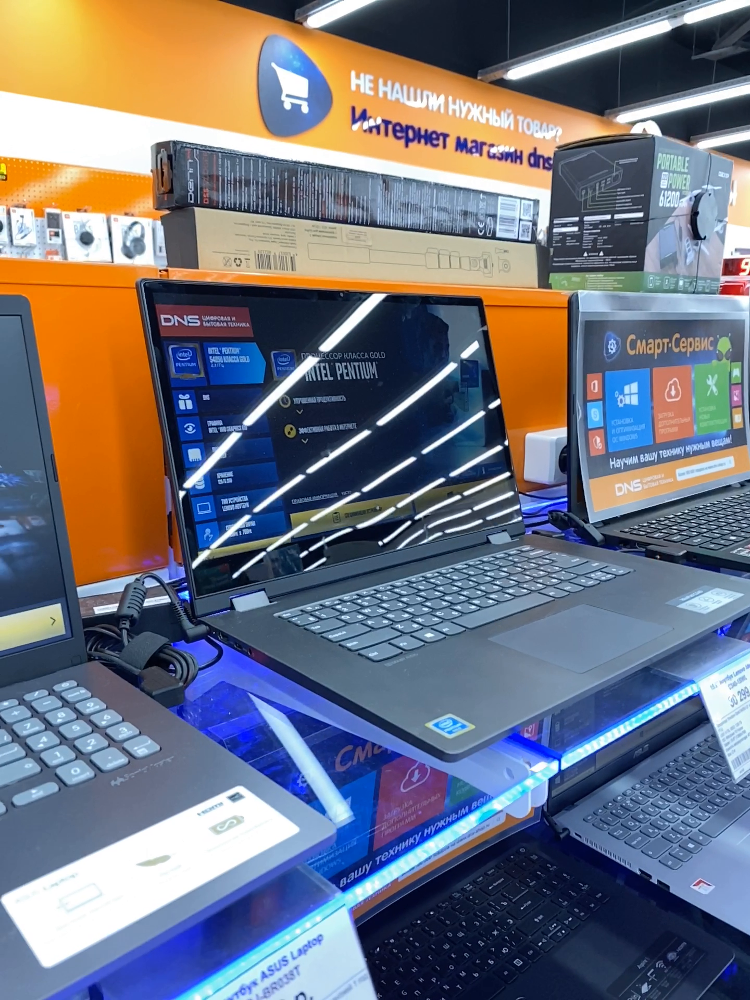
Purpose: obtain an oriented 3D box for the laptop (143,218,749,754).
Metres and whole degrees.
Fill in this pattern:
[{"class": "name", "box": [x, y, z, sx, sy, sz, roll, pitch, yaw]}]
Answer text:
[{"class": "laptop", "box": [0.075, -0.043, 0.565, 0.362, 0.232, 0.318, -9, 14, -41]}]
